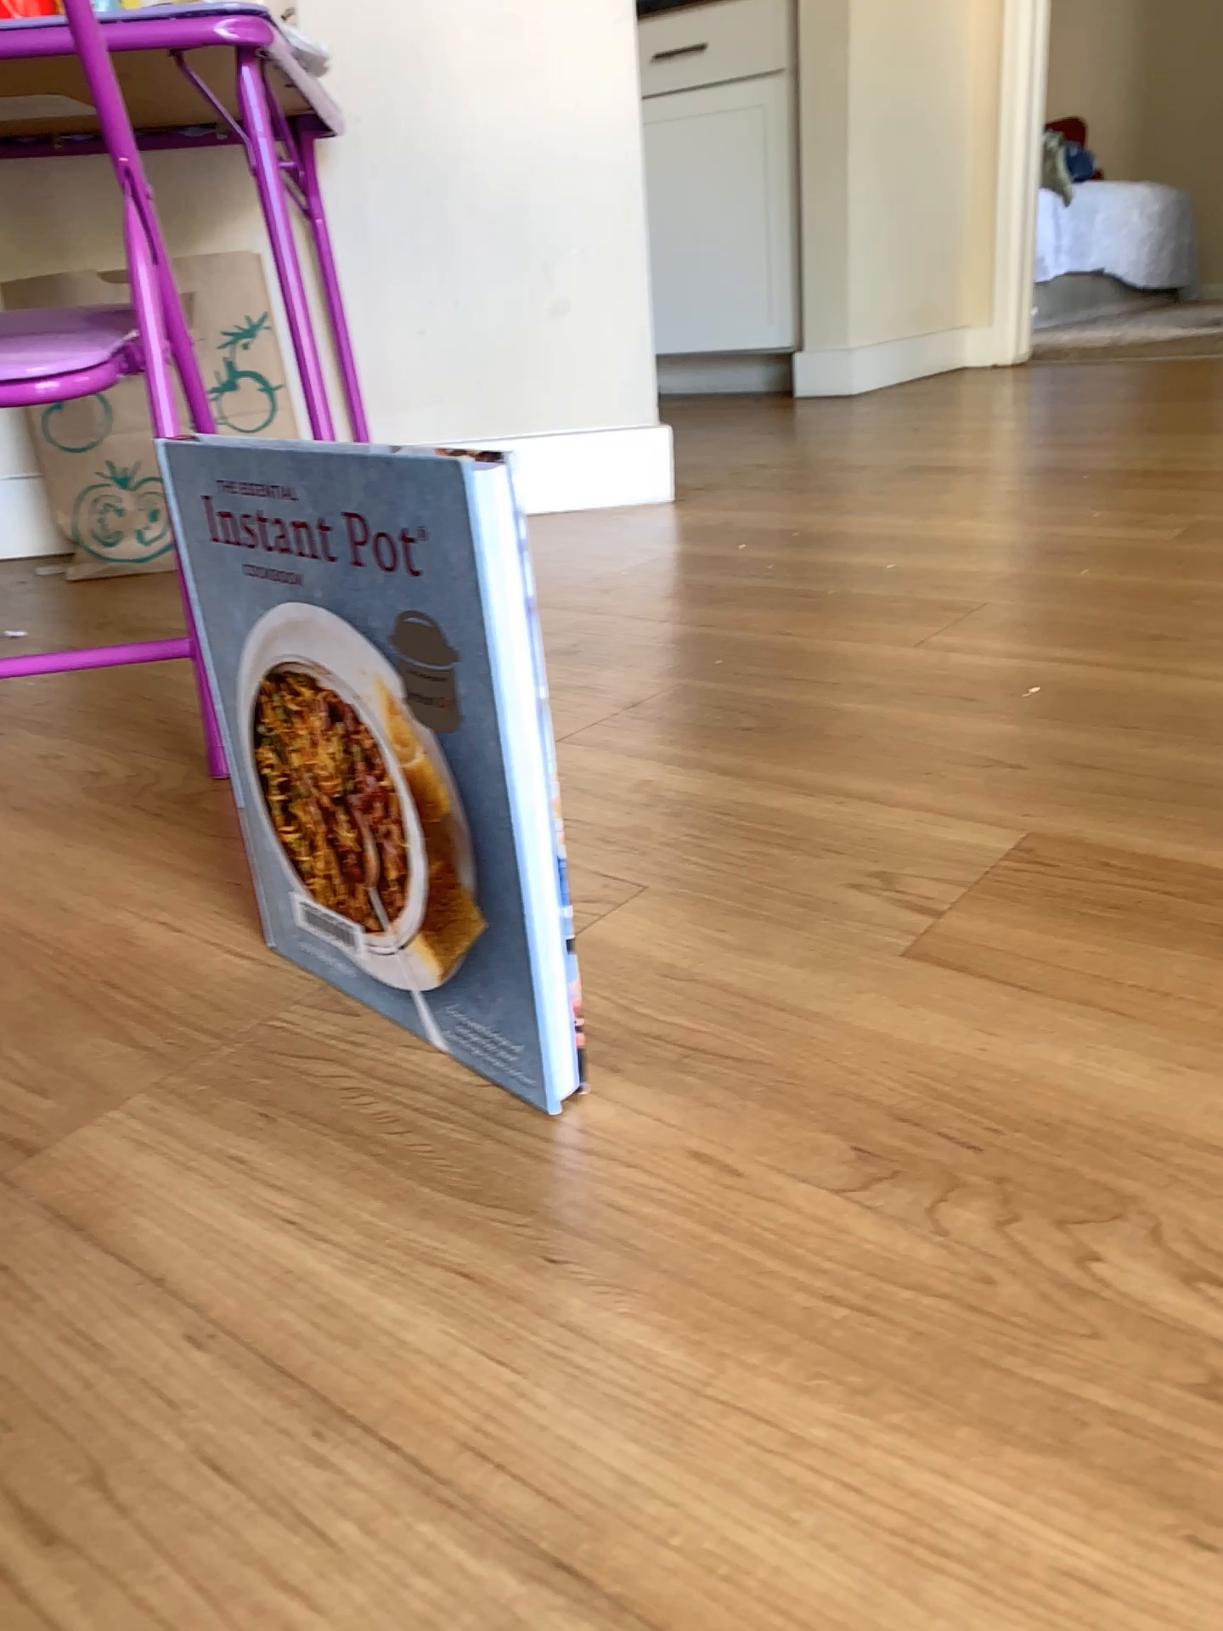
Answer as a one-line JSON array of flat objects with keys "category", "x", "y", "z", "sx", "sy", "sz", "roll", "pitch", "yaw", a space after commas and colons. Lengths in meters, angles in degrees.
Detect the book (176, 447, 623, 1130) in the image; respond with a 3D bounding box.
[{"category": "book", "x": -0.092, "y": -0.024, "z": 0.518, "sx": 0.030, "sy": 0.239, "sz": 0.231, "roll": -22, "pitch": 28, "yaw": -39}]
